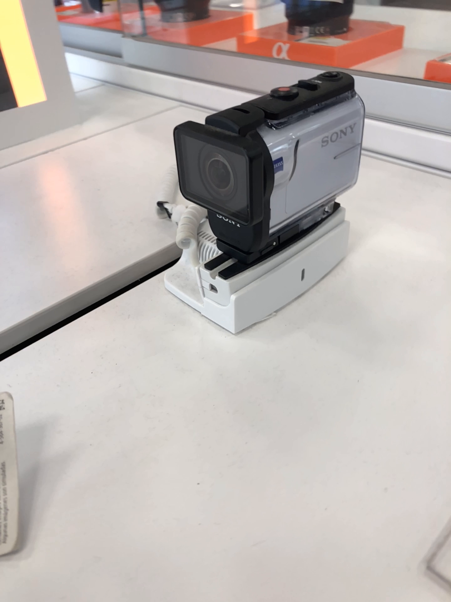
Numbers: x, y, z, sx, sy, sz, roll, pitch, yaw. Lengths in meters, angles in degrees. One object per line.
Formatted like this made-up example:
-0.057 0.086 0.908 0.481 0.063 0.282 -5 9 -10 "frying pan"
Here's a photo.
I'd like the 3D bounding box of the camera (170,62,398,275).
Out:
0.029 -0.065 0.232 0.090 0.060 0.050 -33 45 -32 "camera"
